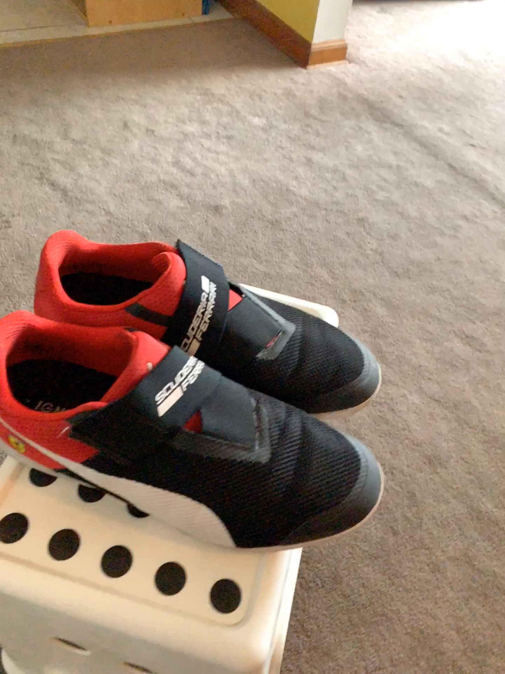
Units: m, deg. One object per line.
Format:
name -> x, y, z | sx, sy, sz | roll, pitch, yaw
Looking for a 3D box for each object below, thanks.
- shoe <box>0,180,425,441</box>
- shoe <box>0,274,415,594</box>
shoe -> -0.028, -0.023, 0.412 | 0.300, 0.089, 0.111 | 13, 50, 3
shoe -> -0.057, 0.062, 0.351 | 0.300, 0.089, 0.101 | 16, 50, 5
